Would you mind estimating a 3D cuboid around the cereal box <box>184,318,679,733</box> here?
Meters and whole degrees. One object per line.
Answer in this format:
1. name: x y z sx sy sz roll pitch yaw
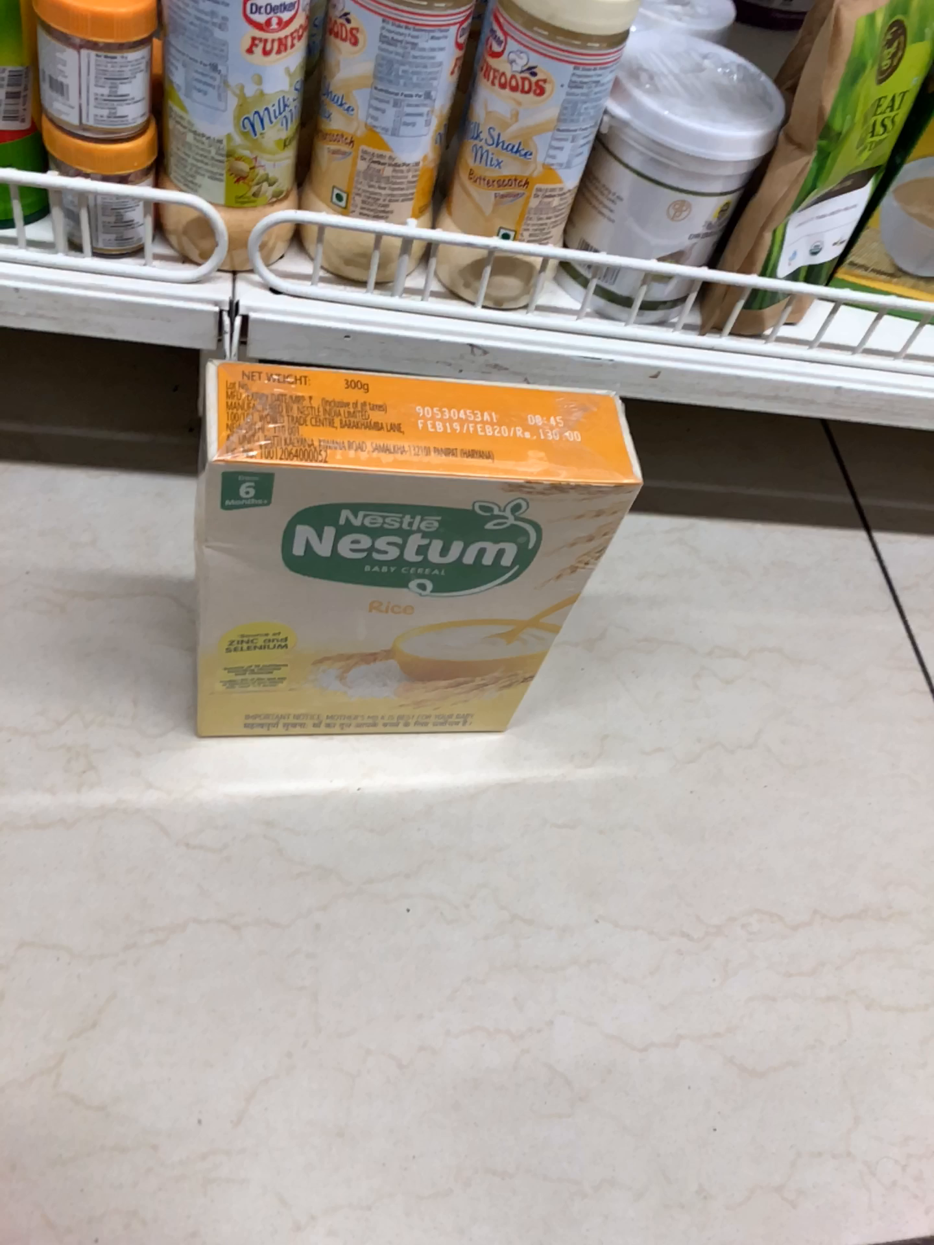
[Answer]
1. cereal box: -0.030 -0.024 0.417 0.160 0.189 0.050 1 56 -16
